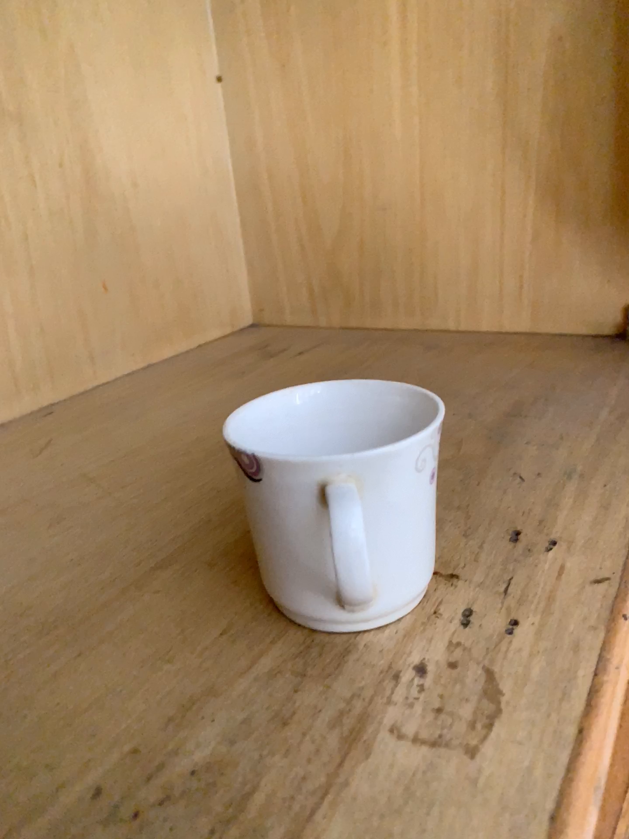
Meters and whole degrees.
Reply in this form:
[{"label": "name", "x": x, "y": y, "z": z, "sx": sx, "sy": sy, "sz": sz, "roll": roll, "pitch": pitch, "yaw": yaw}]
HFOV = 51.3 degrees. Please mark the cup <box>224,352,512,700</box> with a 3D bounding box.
[{"label": "cup", "x": 0.016, "y": 0.027, "z": 0.213, "sx": 0.070, "sy": 0.070, "sz": 0.091, "roll": -5, "pitch": 20, "yaw": 2}]
